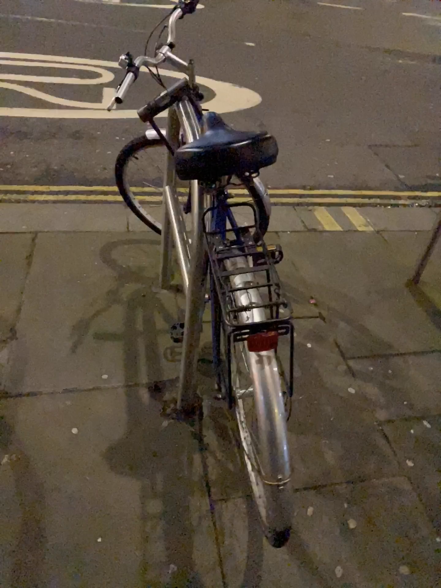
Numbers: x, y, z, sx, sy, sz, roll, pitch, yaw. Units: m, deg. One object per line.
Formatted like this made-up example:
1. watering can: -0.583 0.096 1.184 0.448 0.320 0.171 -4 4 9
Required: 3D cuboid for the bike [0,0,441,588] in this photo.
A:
1. bike: -0.166 -0.209 1.279 0.656 1.108 1.601 -9 44 -19
